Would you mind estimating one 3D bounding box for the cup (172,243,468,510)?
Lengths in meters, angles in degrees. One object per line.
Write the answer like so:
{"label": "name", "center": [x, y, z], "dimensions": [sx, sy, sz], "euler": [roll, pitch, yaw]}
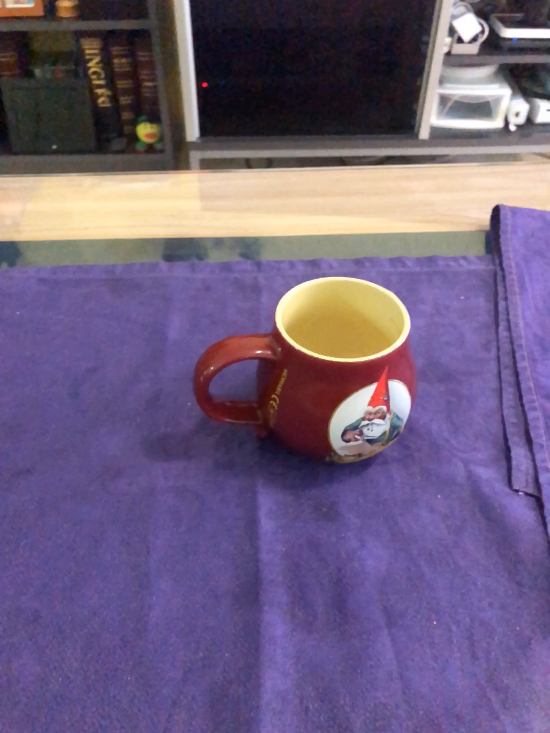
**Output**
{"label": "cup", "center": [0.017, 0.003, 0.317], "dimensions": [0.120, 0.090, 0.080], "euler": [-9, 44, -9]}
